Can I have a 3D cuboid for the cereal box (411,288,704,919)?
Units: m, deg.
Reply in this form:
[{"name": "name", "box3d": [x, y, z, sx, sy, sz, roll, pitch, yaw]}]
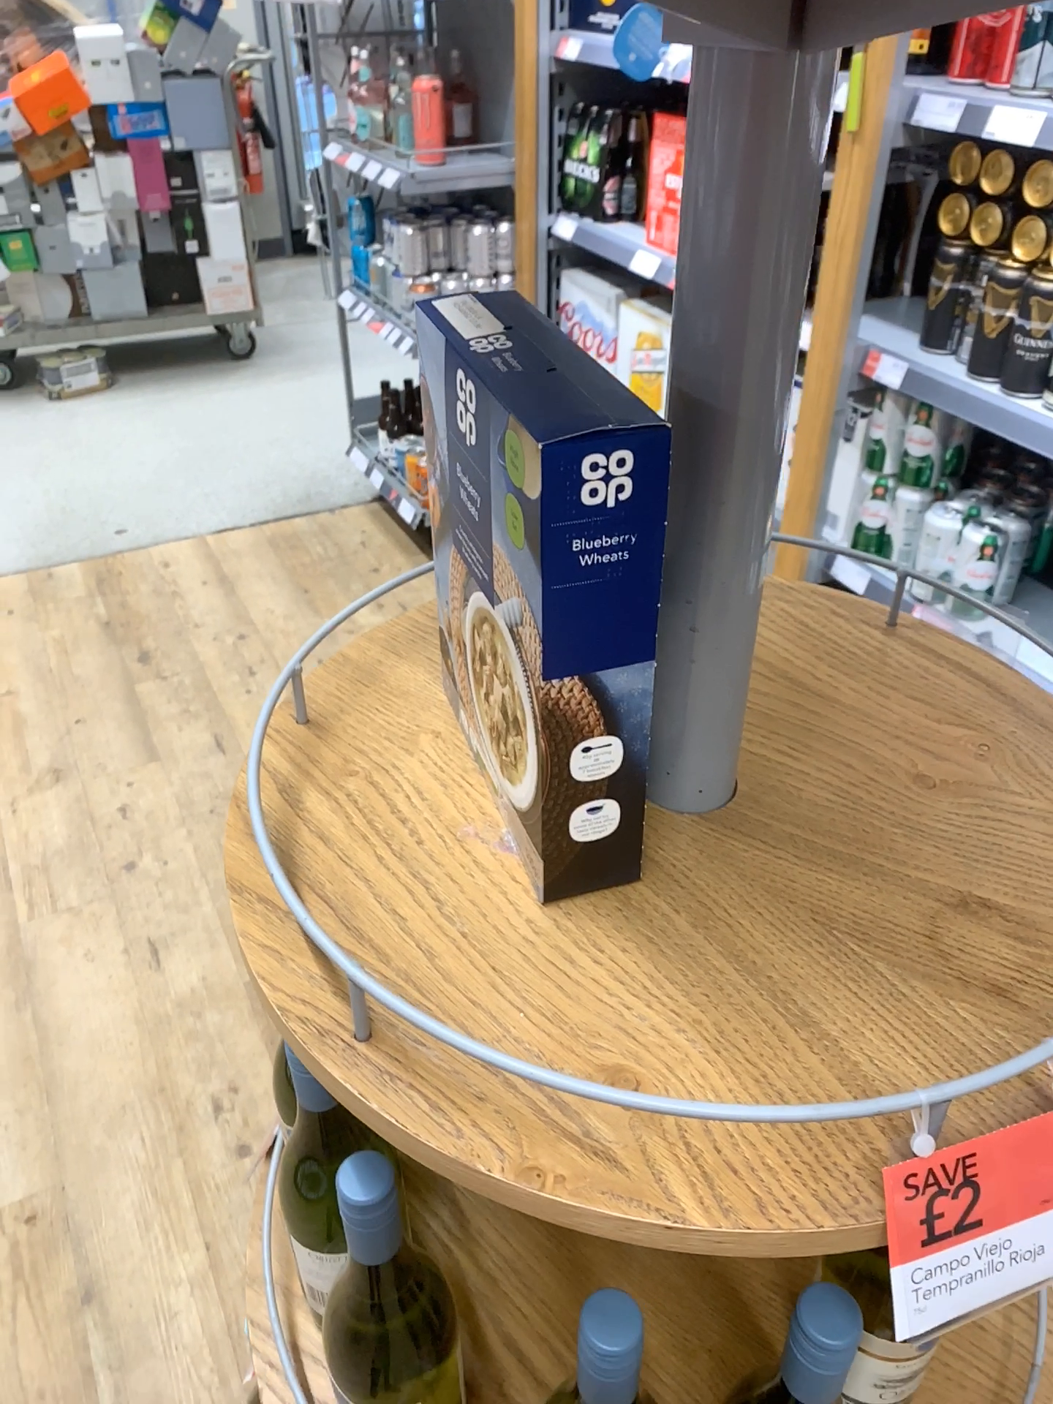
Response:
[{"name": "cereal box", "box3d": [0.003, -0.054, 0.522, 0.060, 0.228, 0.202, -10, 37, -15]}]
